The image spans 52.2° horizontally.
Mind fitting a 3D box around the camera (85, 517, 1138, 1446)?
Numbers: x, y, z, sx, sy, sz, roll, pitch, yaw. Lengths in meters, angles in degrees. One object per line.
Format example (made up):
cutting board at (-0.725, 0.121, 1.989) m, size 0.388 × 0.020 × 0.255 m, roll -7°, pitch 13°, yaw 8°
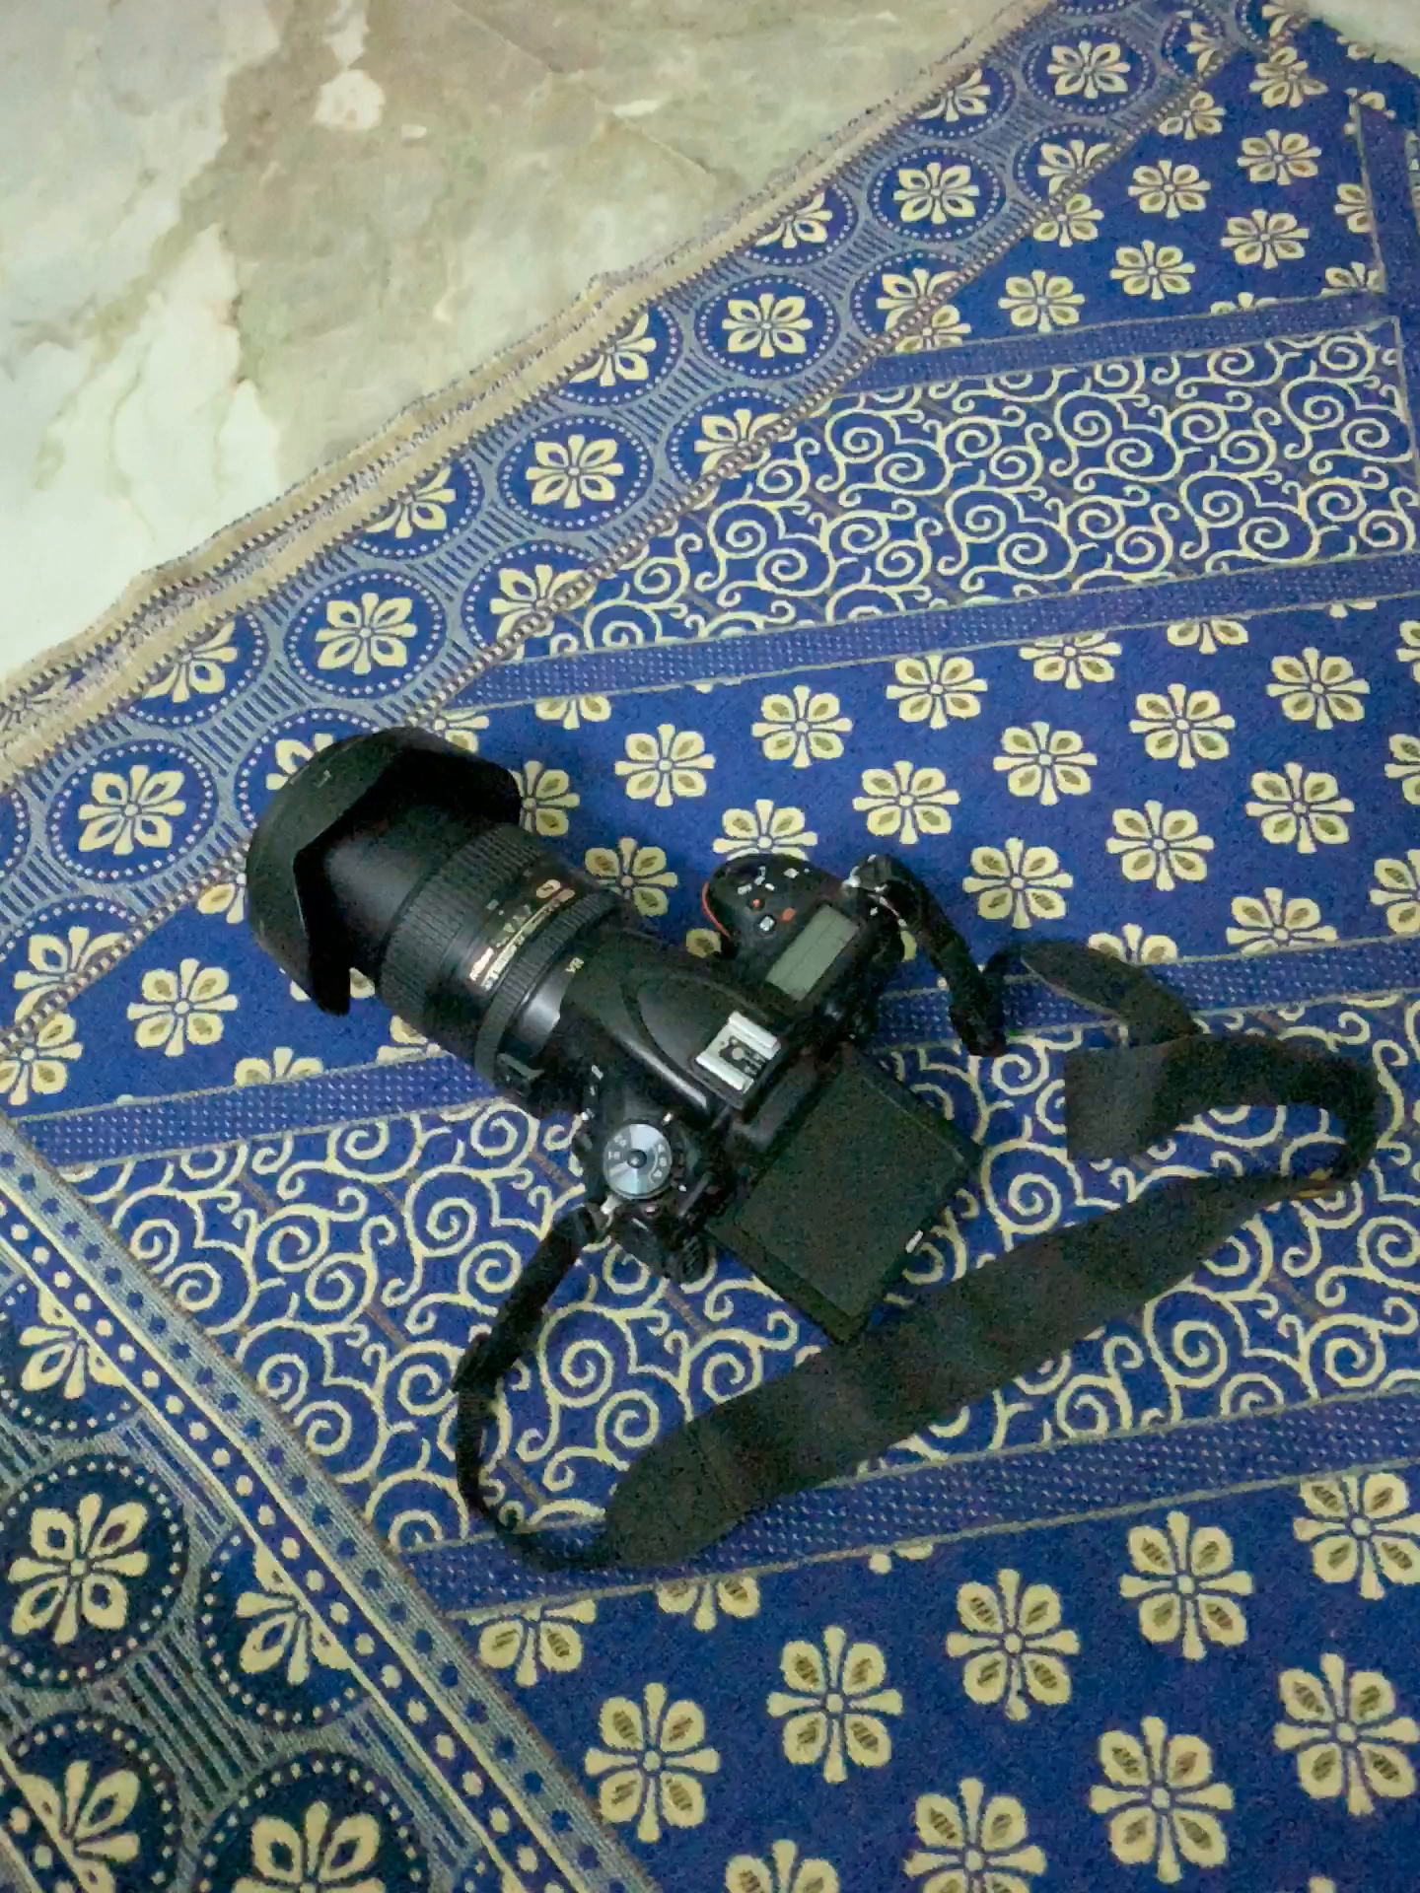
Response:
camera at (-0.039, 0.004, 0.525) m, size 0.320 × 0.110 × 0.160 m, roll 34°, pitch 71°, yaw 19°
